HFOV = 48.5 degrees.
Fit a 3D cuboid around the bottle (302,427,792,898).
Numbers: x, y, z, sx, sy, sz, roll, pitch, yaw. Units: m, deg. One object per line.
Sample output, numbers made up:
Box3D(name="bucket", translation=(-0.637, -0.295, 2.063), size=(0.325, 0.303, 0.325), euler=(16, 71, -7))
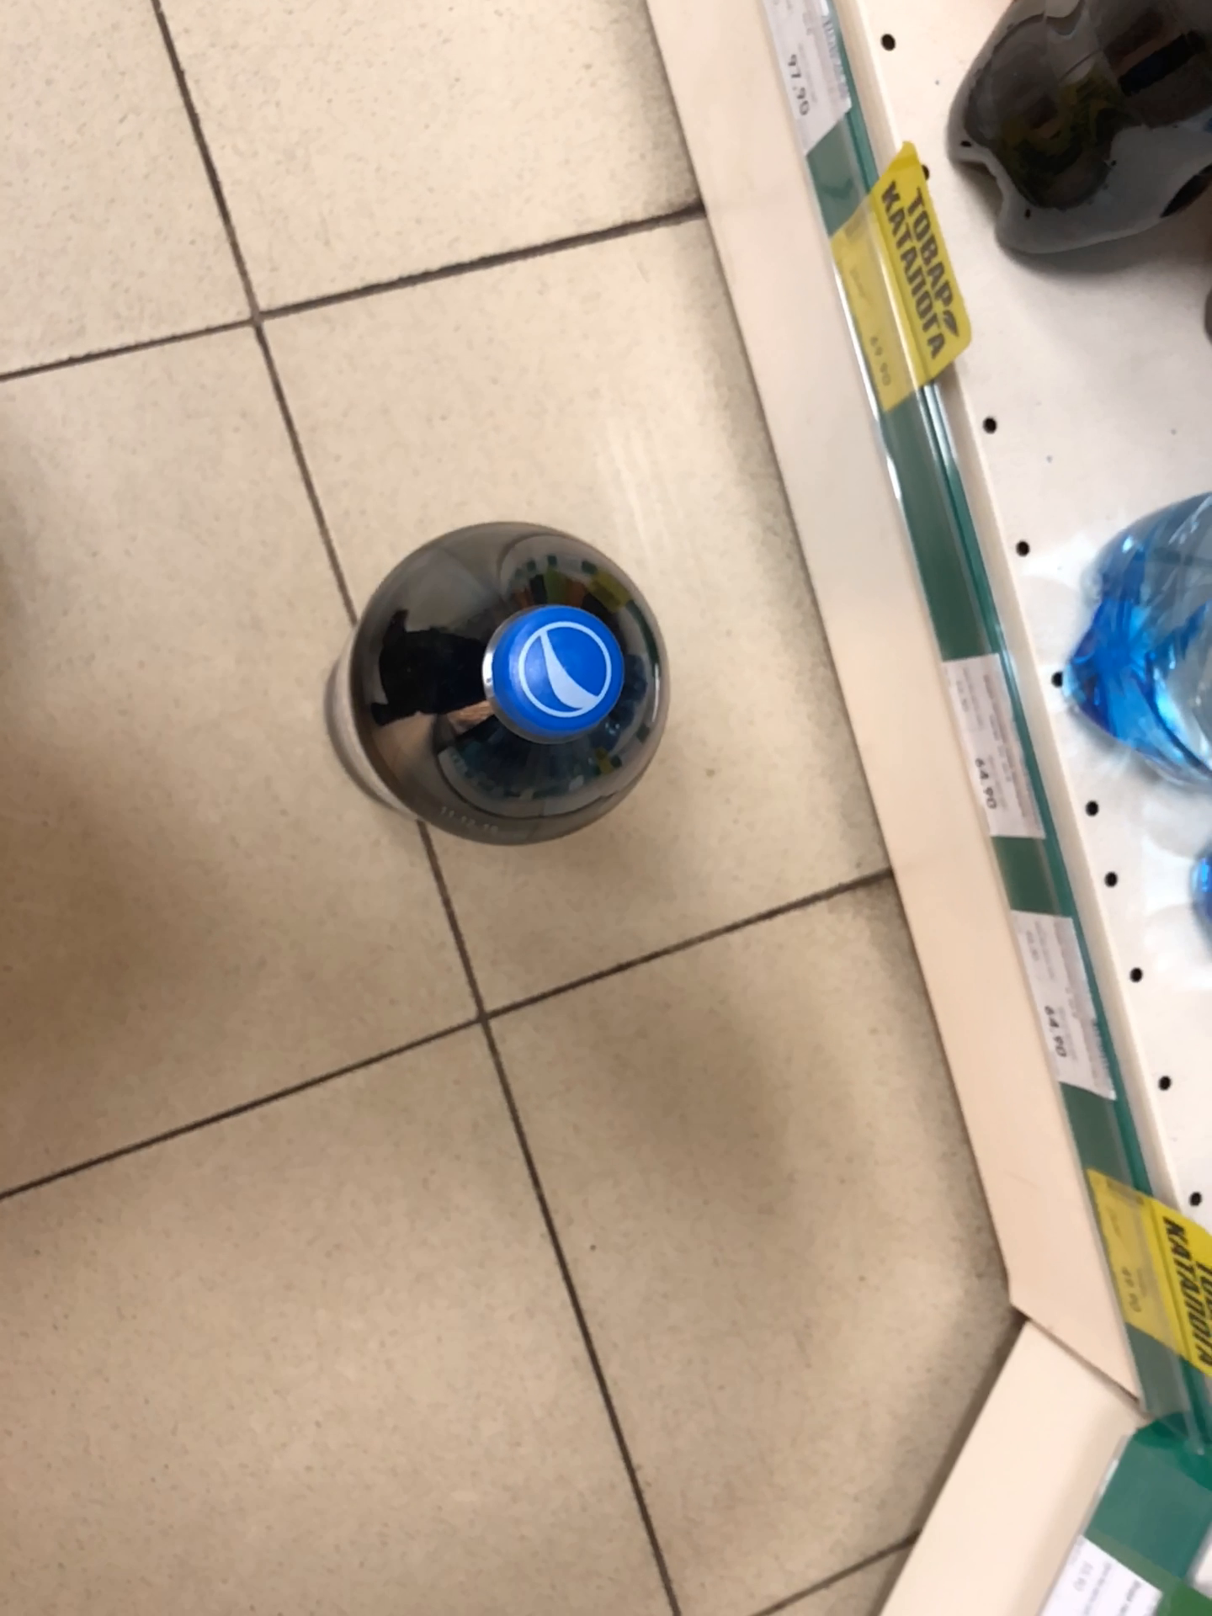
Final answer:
Box3D(name="bottle", translation=(-0.045, -0.038, 0.454), size=(0.085, 0.317, 0.089), euler=(0, 92, -14))
